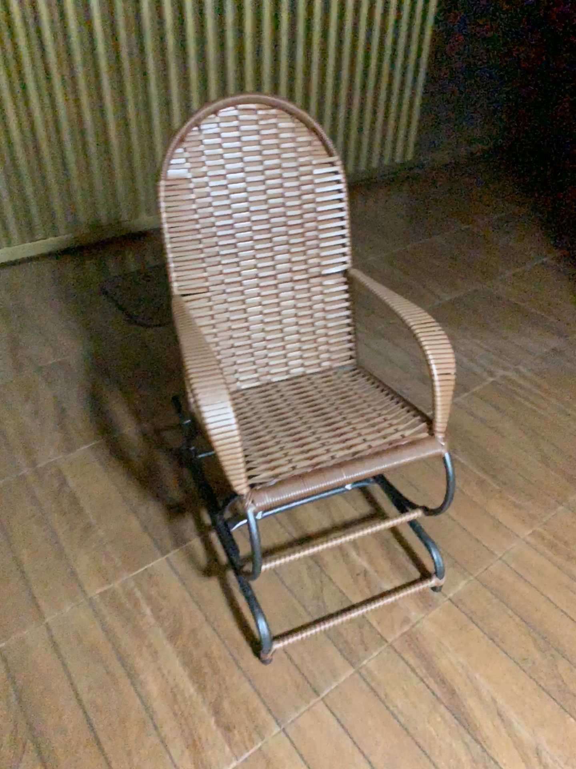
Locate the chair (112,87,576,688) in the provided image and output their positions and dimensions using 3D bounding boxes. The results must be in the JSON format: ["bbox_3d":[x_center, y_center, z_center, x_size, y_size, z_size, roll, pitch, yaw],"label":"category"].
[{"bbox_3d":[0.032,-0.034,1.396,0.599,1.050,0.786,-13,39,-20],"label":"chair"}]
